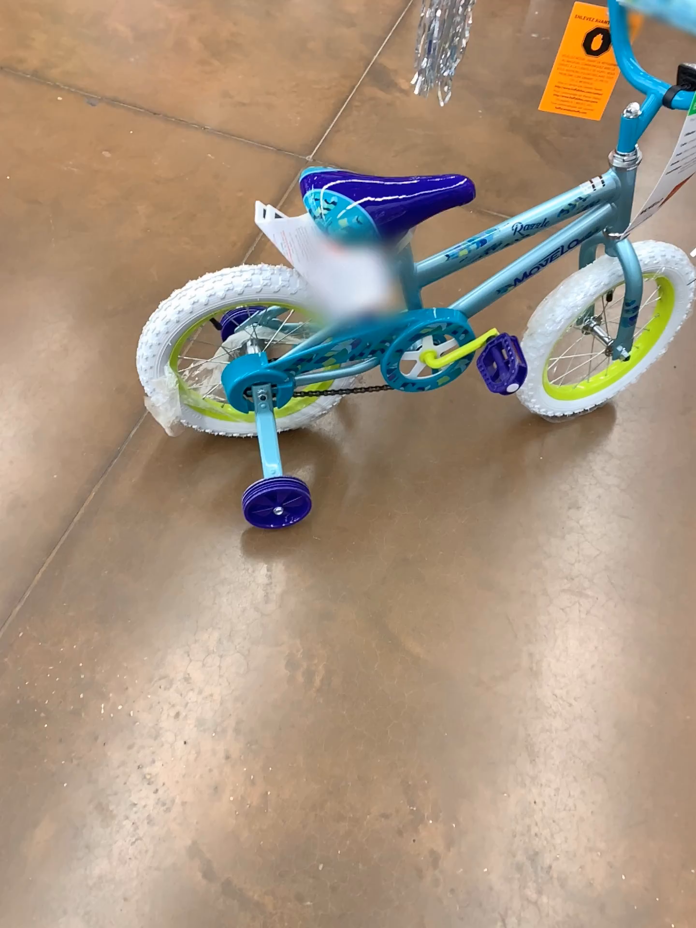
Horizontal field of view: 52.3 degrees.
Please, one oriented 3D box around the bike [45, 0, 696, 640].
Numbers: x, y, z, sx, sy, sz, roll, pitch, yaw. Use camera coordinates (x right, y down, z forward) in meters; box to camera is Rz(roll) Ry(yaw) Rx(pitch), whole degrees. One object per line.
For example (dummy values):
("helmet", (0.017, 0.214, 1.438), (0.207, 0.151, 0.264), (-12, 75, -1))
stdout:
("bike", (0.172, -0.279, 0.922), (0.859, 0.639, 0.624), (-11, 56, -16))
